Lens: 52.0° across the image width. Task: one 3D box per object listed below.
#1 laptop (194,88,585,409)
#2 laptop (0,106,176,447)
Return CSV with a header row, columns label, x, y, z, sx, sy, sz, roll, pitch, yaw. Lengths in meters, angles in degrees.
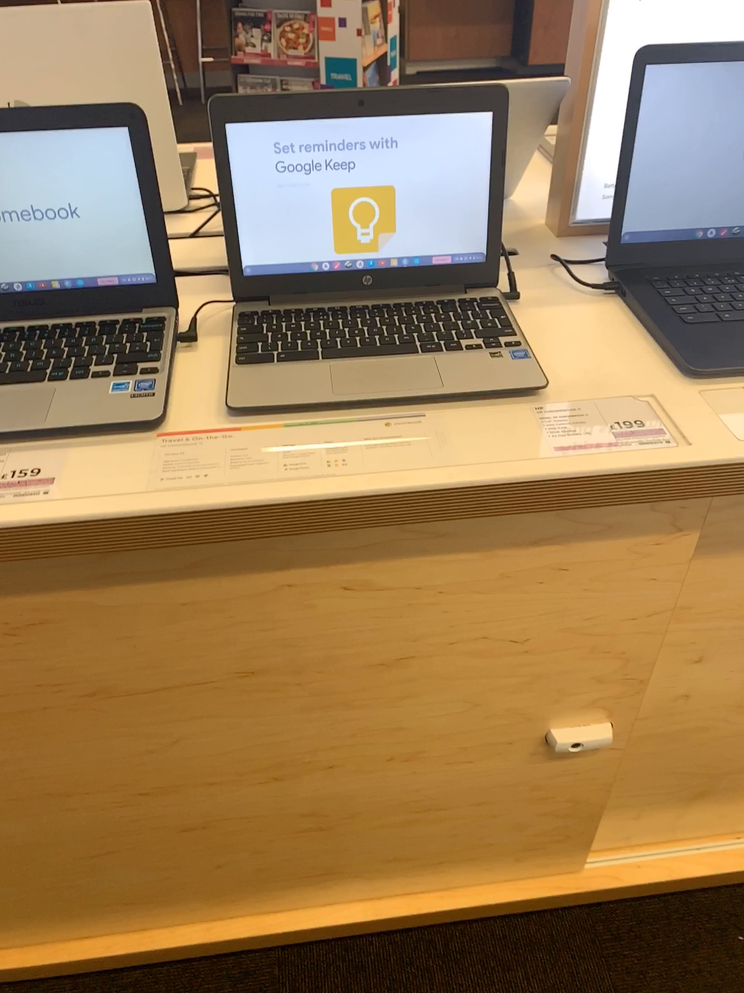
label,x,y,z,sx,sy,sz,roll,pitch,yaw
laptop,0.004,-0.230,0.683,0.277,0.185,0.230,-5,40,-4
laptop,-0.334,-0.195,0.646,0.286,0.180,0.223,-5,41,-5
